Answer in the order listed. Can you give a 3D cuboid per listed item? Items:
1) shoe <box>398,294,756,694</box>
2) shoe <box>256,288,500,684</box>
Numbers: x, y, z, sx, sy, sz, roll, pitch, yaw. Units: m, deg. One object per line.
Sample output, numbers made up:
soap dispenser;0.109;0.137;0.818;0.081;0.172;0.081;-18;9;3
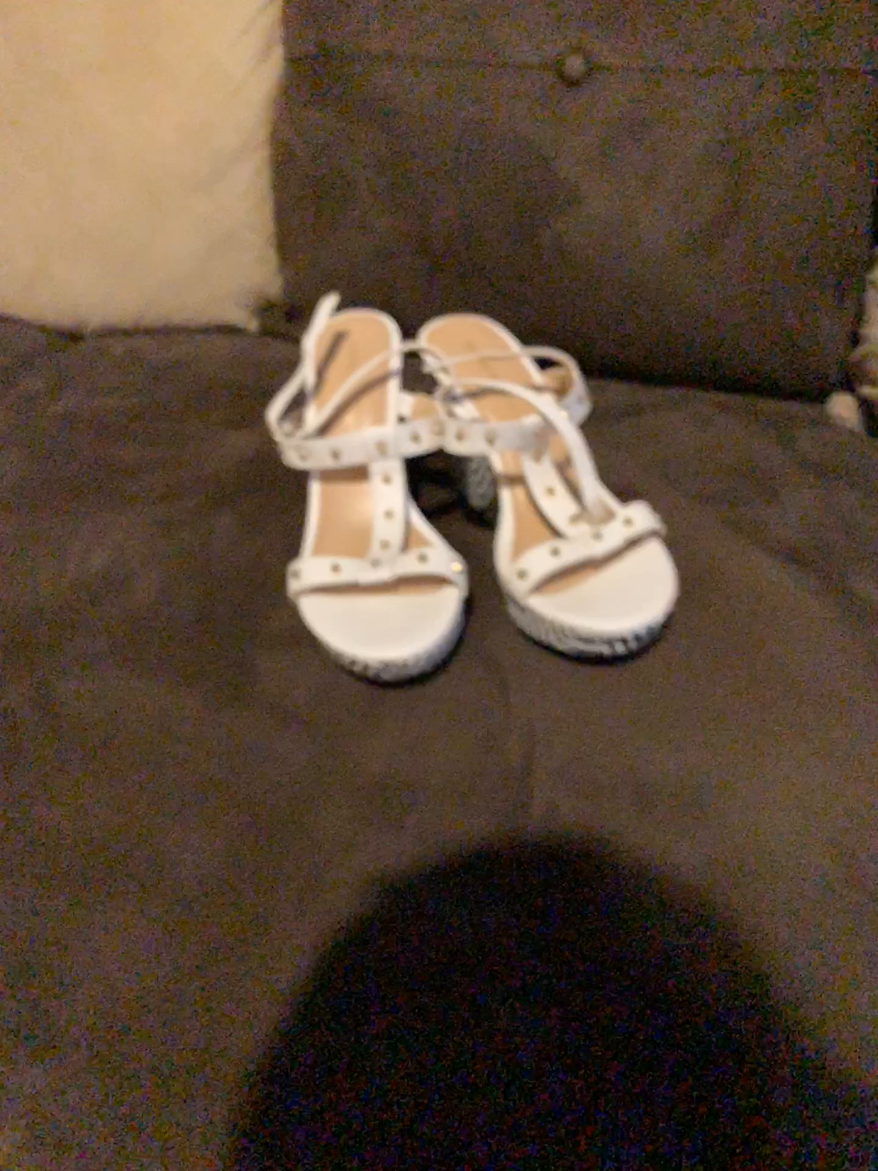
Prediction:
shoe;0.060;-0.069;0.541;0.100;0.099;0.251;-11;42;-15
shoe;-0.033;-0.072;0.545;0.110;0.099;0.261;0;41;-3
